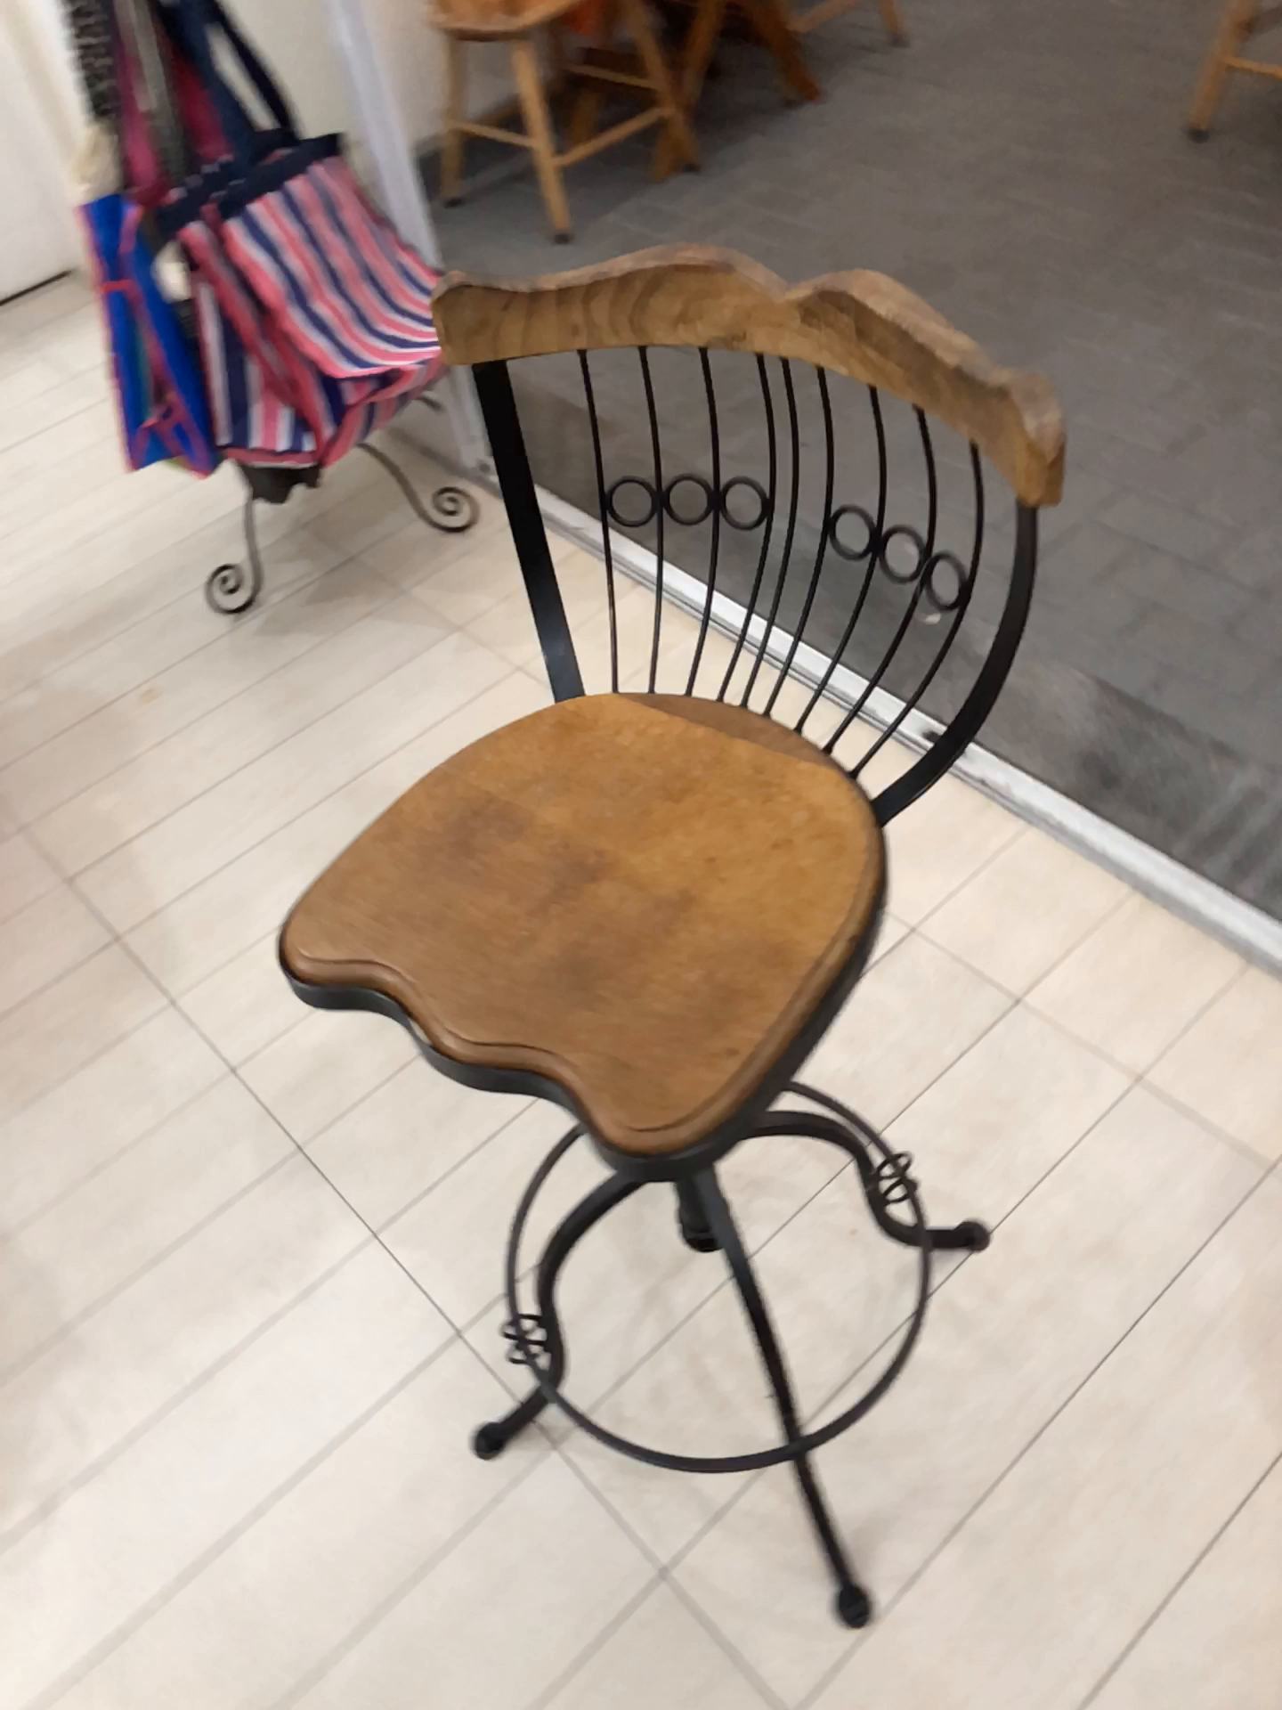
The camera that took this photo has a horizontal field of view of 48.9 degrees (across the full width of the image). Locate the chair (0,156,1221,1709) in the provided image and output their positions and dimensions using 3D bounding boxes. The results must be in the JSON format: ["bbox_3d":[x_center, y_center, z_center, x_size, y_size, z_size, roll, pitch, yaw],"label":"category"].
[{"bbox_3d":[0.018,0.102,0.962,0.461,0.894,0.472,22,55,29],"label":"chair"}]
